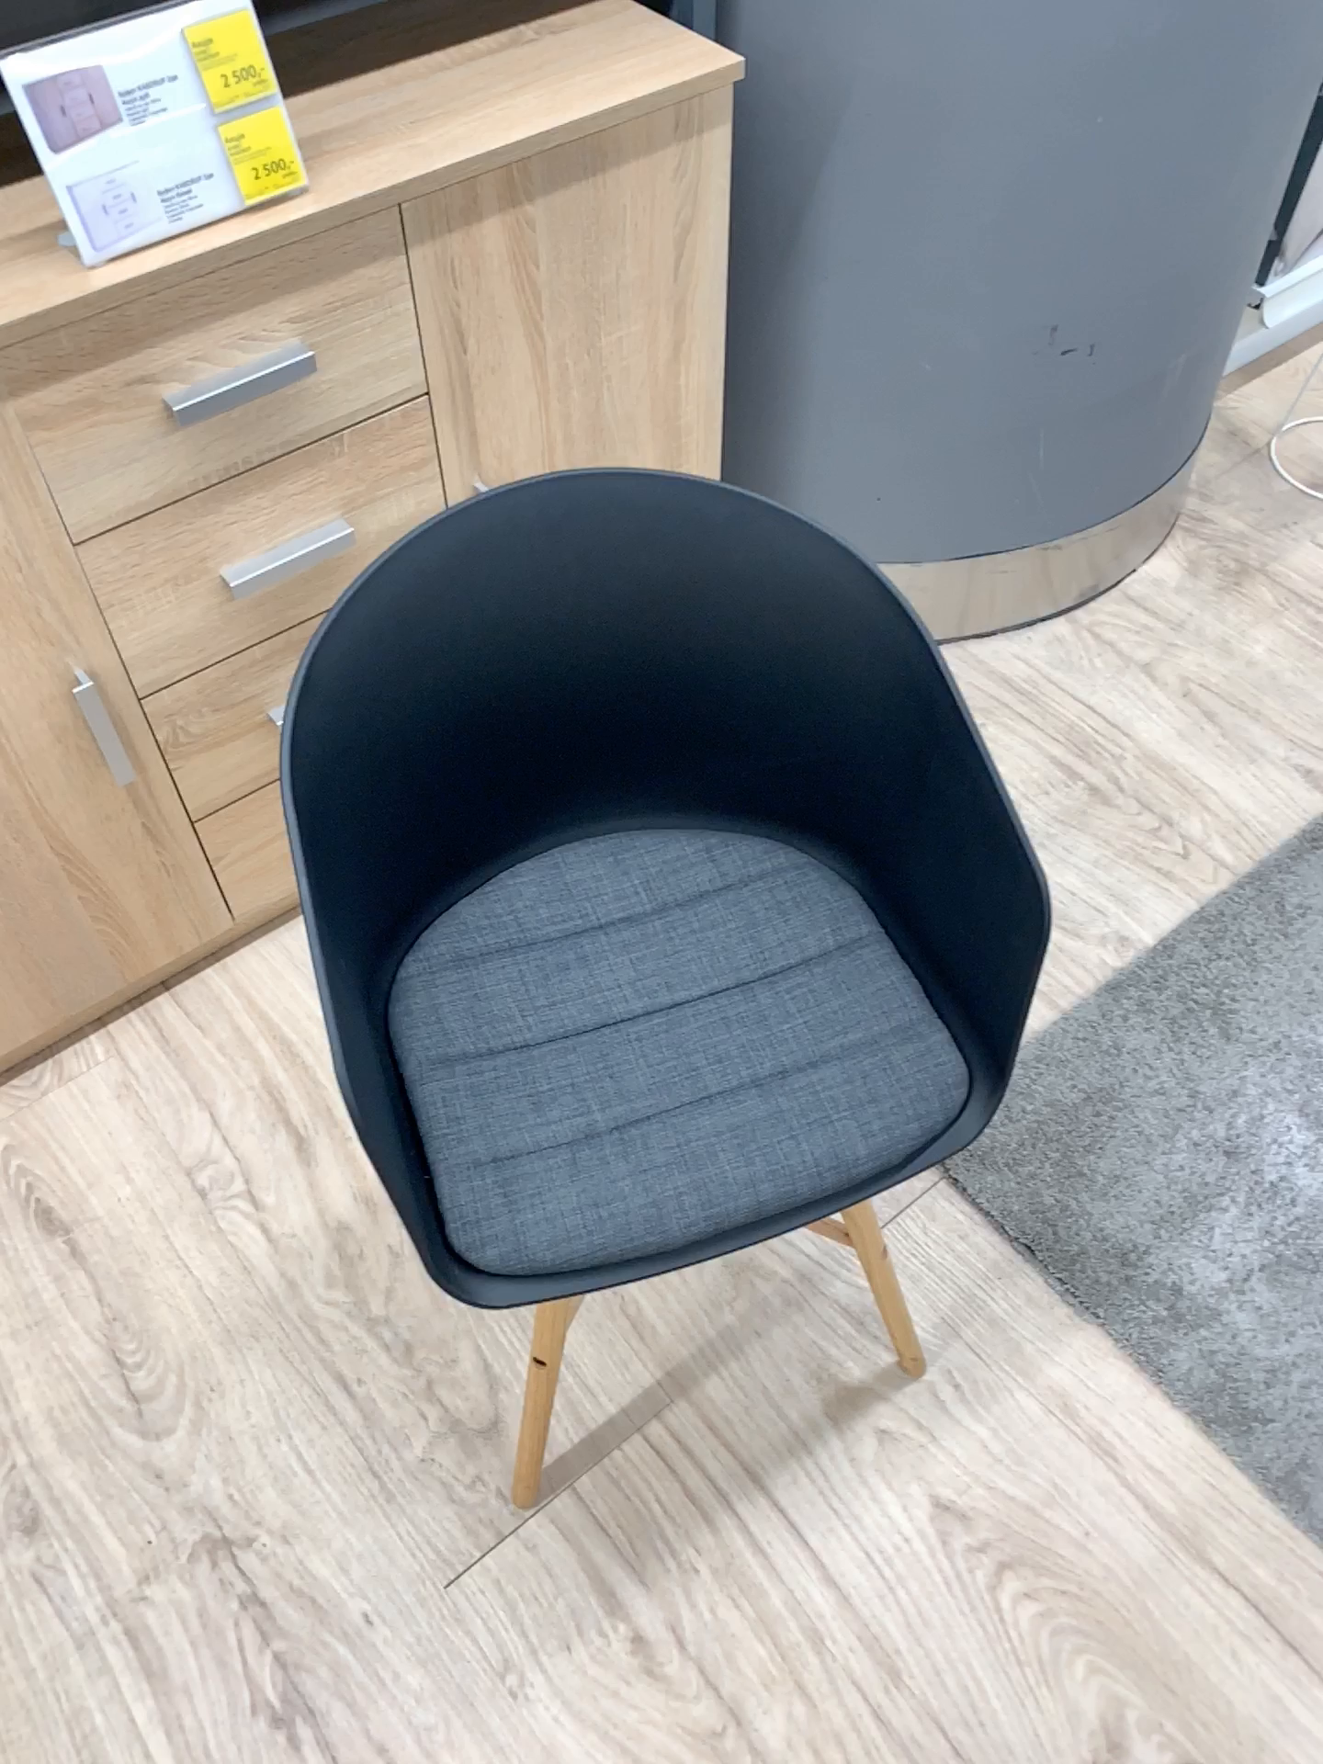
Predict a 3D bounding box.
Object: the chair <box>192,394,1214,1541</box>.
[{"bbox_3d":[-0.009,0.118,1.195,0.510,0.787,0.552,-16,53,-11],"label":"chair"}]
